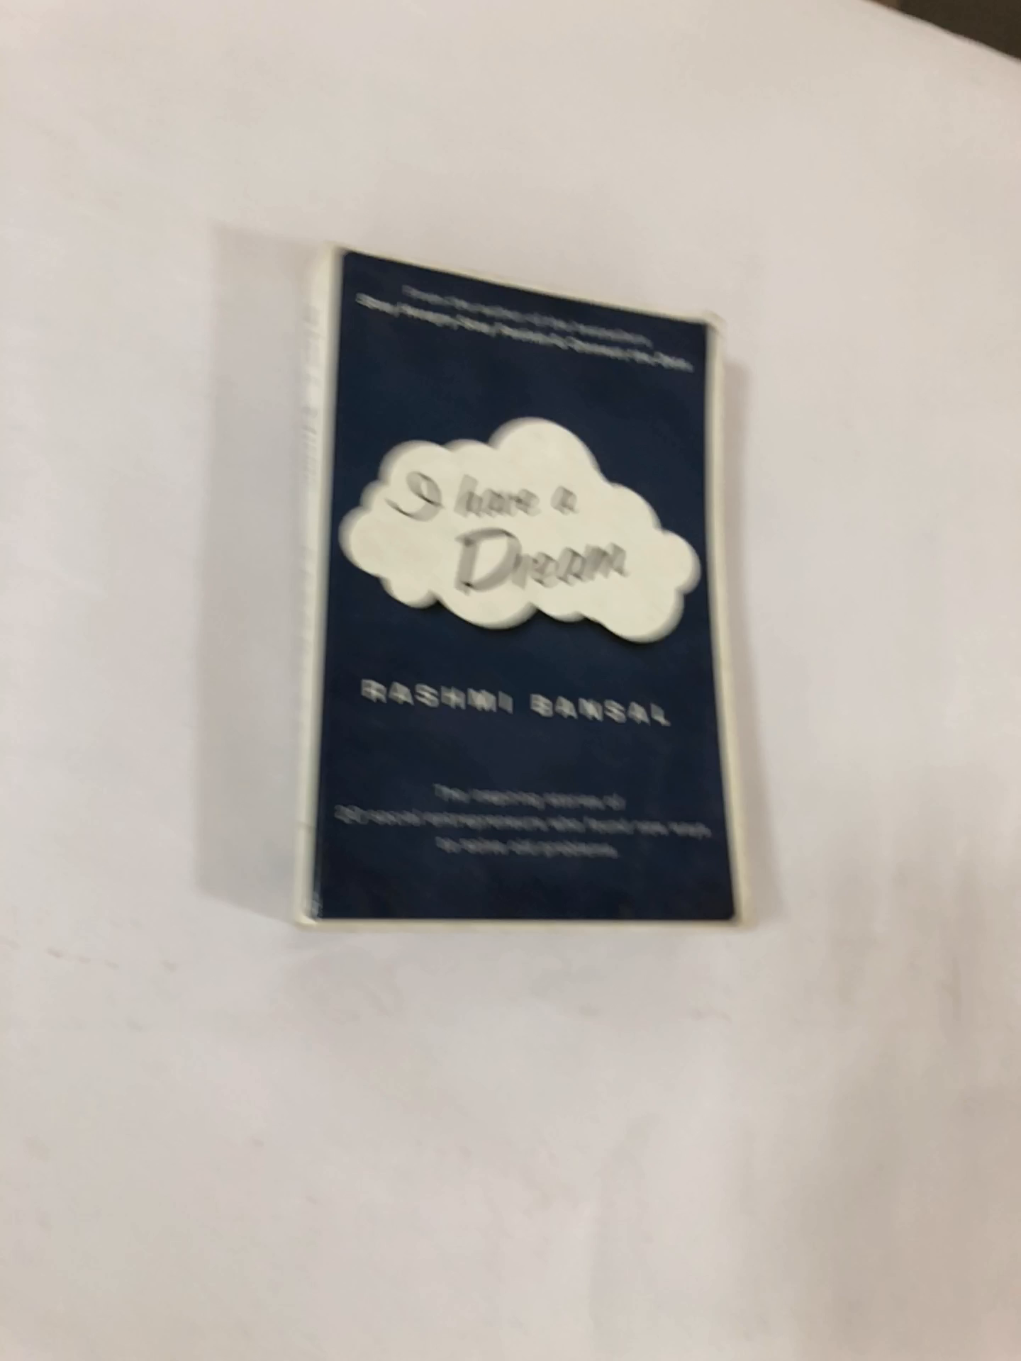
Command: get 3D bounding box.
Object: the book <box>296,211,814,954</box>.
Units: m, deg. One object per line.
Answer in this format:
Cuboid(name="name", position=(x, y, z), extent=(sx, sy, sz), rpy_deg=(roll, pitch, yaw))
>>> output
Cuboid(name="book", position=(0.015, -0.023, 0.333), extent=(0.140, 0.030, 0.200), rpy_deg=(6, 76, -22))
